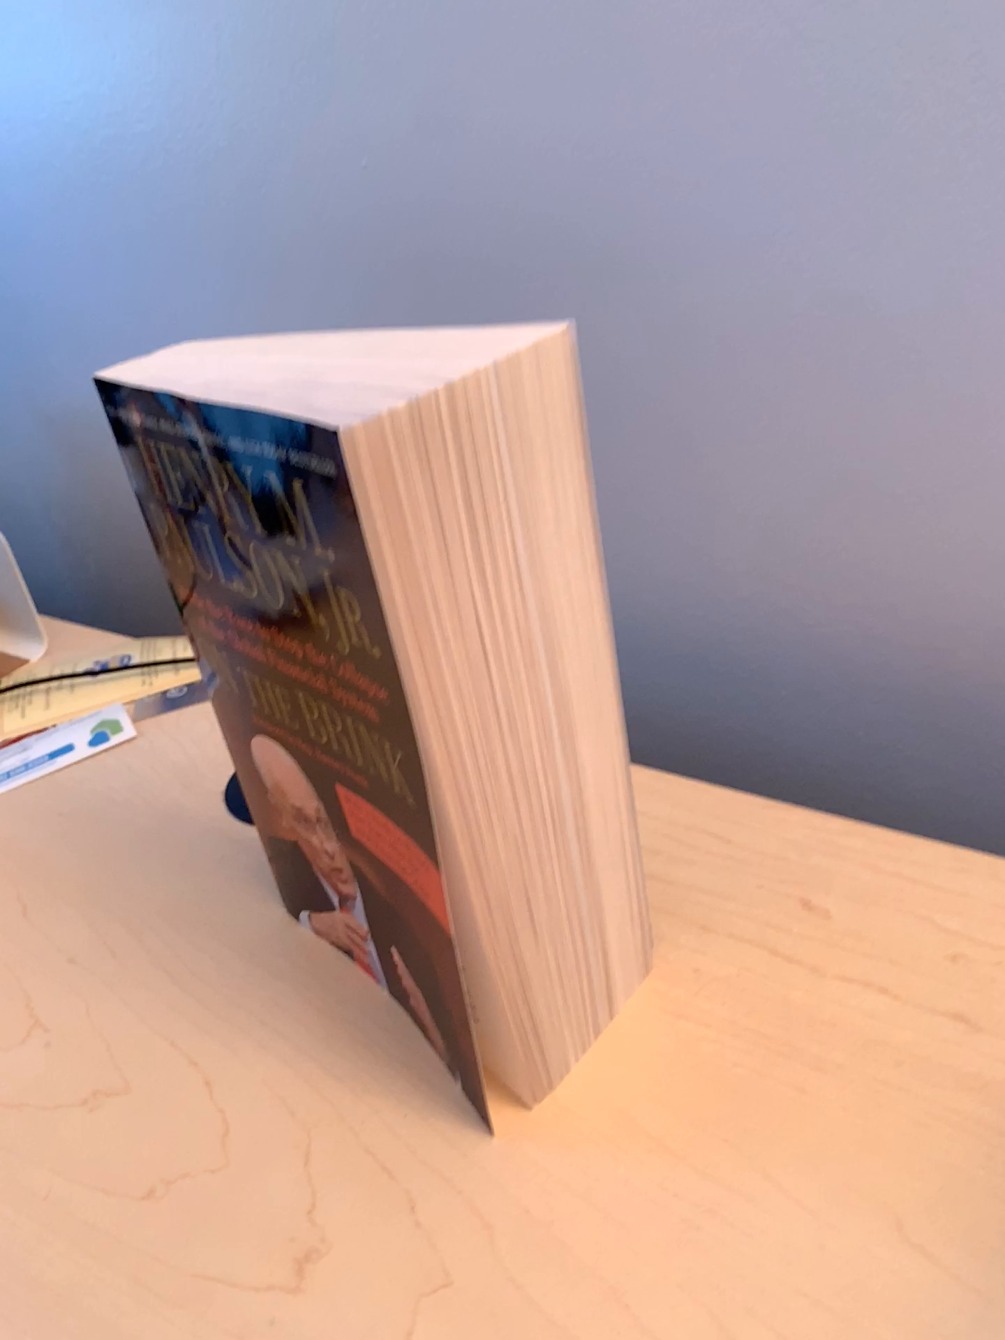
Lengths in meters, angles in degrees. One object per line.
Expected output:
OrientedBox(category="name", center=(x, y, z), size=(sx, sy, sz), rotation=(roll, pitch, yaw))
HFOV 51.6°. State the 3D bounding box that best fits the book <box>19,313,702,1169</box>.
OrientedBox(category="book", center=(-0.039, 0.014, 0.337), size=(0.168, 0.228, 0.082), rotation=(15, 36, 40))
